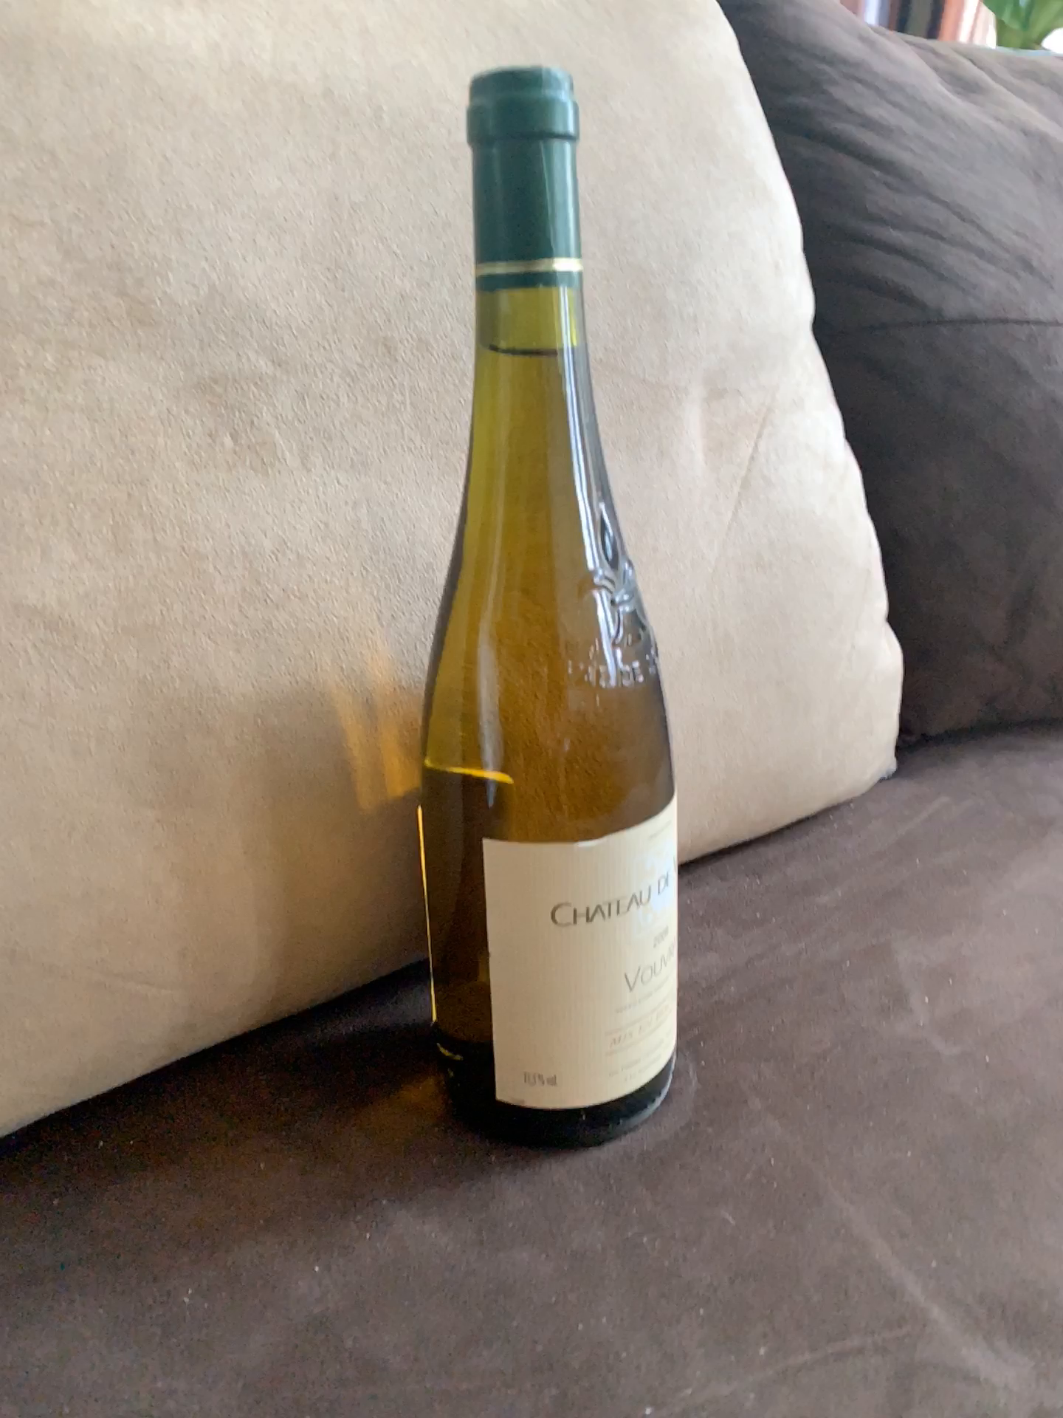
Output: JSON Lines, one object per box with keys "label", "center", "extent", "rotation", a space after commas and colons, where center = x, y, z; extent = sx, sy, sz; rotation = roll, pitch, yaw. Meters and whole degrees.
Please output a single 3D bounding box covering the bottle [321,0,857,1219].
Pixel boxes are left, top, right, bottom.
{"label": "bottle", "center": [0.013, -0.019, 0.322], "extent": [0.090, 0.308, 0.100], "rotation": [16, 27, 30]}
